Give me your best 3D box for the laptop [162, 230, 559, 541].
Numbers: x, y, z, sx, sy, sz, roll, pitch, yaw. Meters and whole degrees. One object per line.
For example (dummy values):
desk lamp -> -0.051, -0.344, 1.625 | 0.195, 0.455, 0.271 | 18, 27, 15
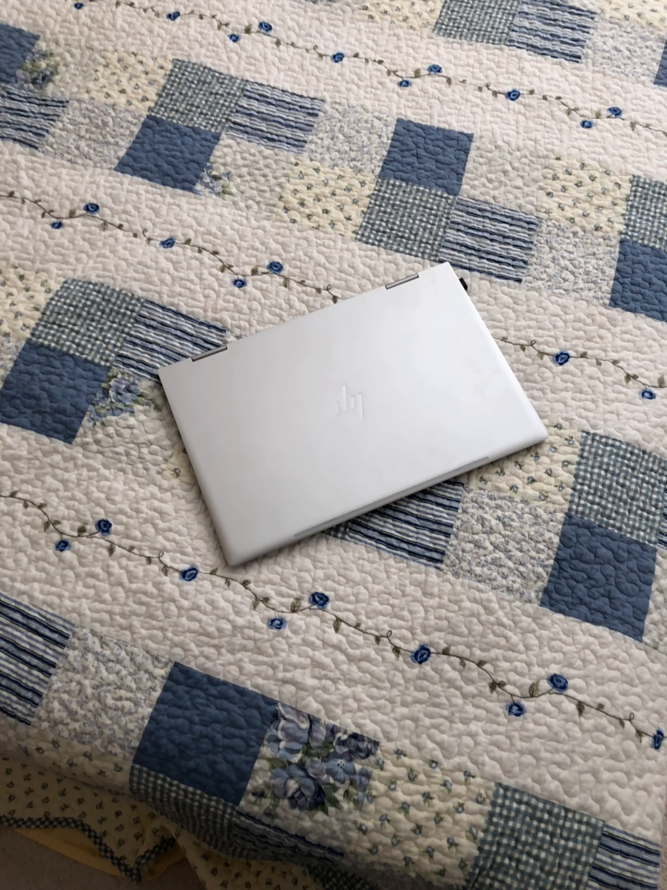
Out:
laptop -> 0.024, -0.079, 0.856 | 0.386, 0.011, 0.256 | -22, 72, -4
